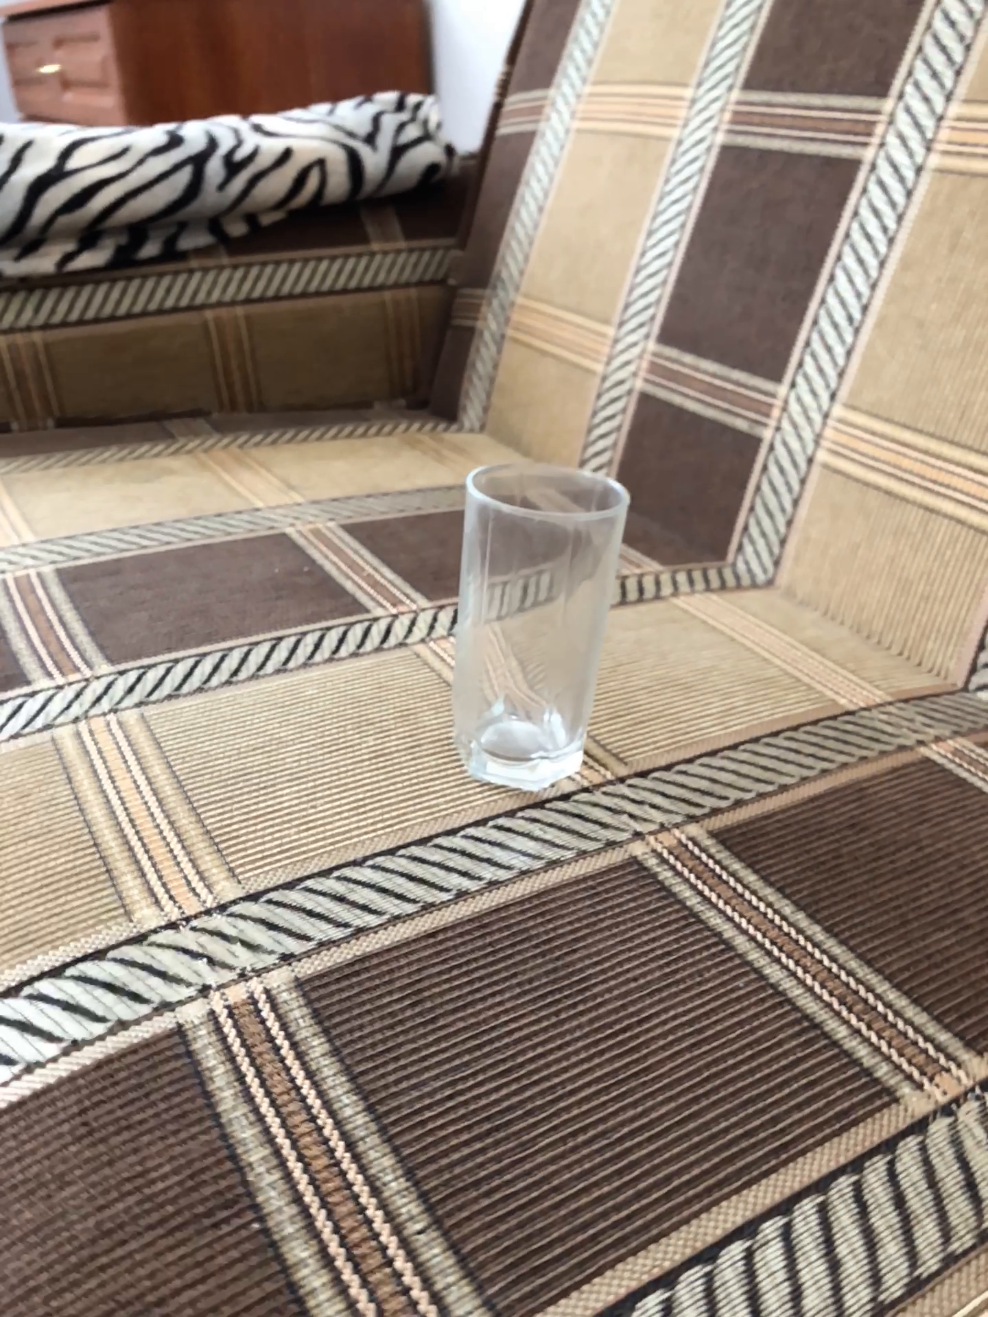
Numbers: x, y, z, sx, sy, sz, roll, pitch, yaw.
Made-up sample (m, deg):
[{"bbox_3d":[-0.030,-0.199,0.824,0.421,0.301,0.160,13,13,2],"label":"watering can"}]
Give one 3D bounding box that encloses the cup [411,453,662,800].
[{"bbox_3d":[0.013,-0.017,0.488,0.075,0.130,0.077,5,26,-2],"label":"cup"}]
